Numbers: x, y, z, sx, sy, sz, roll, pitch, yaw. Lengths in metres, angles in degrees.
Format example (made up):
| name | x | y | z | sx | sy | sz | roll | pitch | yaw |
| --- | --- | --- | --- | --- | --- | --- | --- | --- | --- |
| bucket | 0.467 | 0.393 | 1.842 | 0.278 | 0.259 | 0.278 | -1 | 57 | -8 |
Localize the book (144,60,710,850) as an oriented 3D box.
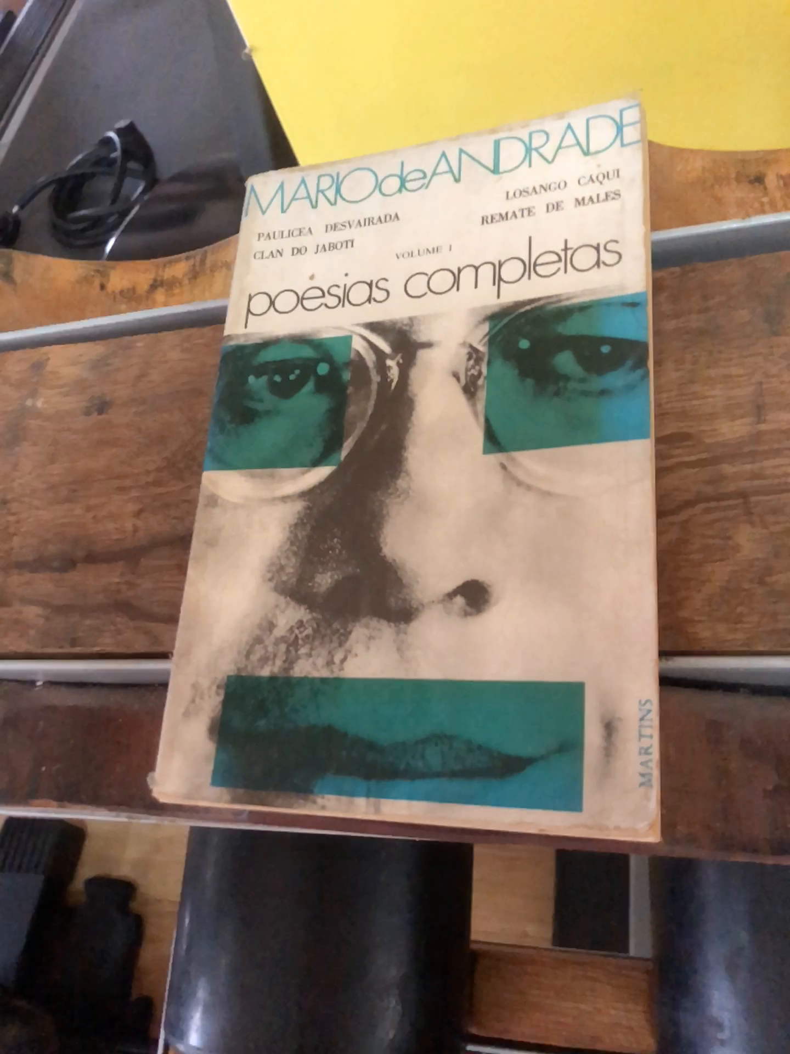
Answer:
| name | x | y | z | sx | sy | sz | roll | pitch | yaw |
| --- | --- | --- | --- | --- | --- | --- | --- | --- | --- |
| book | 0.011 | -0.027 | 0.248 | 0.140 | 0.020 | 0.210 | -2 | 72 | 19 |
